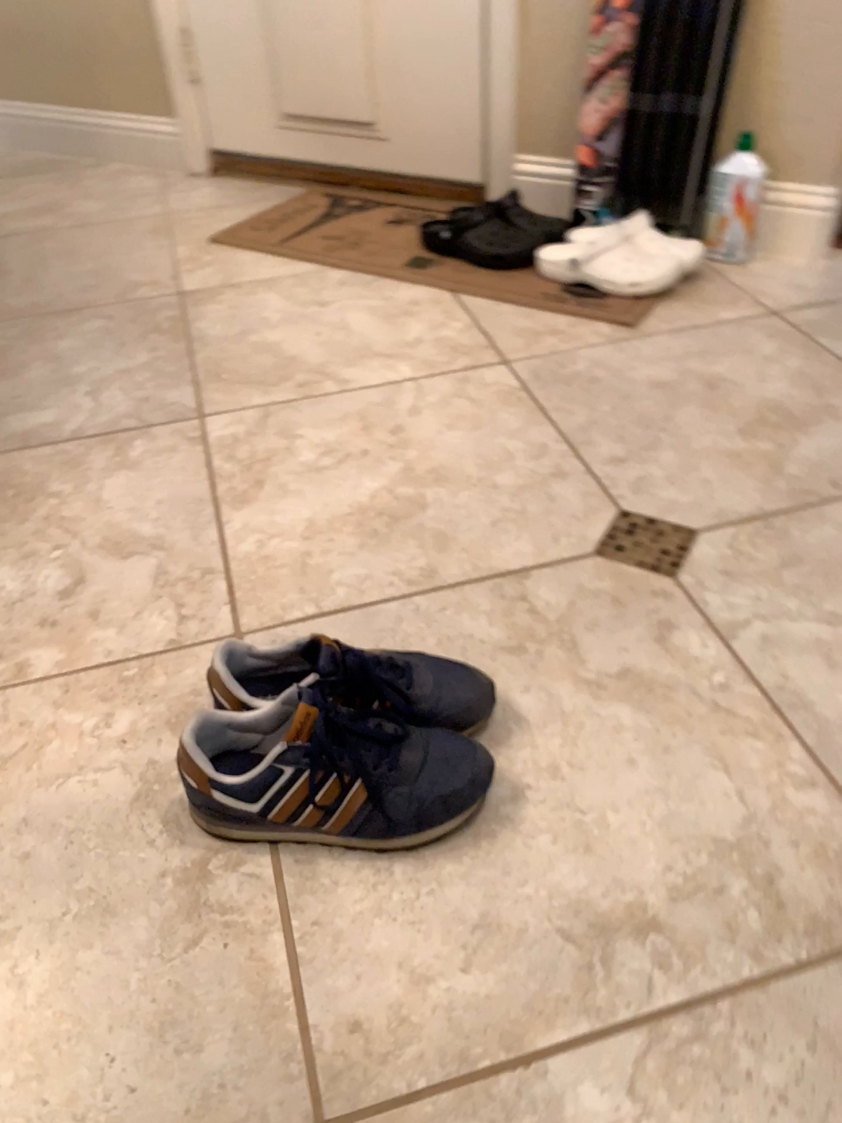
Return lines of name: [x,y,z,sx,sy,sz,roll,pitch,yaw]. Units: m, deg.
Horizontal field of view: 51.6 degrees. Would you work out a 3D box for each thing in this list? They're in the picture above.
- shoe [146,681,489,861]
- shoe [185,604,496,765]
shoe: [-0.082,0.186,0.784,0.282,0.102,0.107,1,40,5]
shoe: [-0.071,0.122,0.864,0.282,0.102,0.112,-2,40,2]
